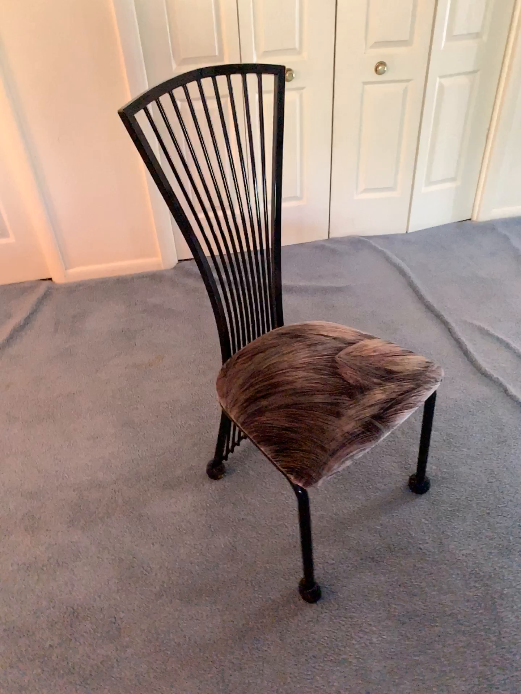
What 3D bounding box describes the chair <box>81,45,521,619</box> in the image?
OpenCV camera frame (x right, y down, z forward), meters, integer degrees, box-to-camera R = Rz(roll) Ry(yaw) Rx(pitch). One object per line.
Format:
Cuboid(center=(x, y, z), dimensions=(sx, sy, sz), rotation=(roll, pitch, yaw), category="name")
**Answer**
Cuboid(center=(0.102, -0.028, 1.133), dimensions=(0.511, 0.974, 0.542), rotation=(-33, 47, -32), category="chair")
